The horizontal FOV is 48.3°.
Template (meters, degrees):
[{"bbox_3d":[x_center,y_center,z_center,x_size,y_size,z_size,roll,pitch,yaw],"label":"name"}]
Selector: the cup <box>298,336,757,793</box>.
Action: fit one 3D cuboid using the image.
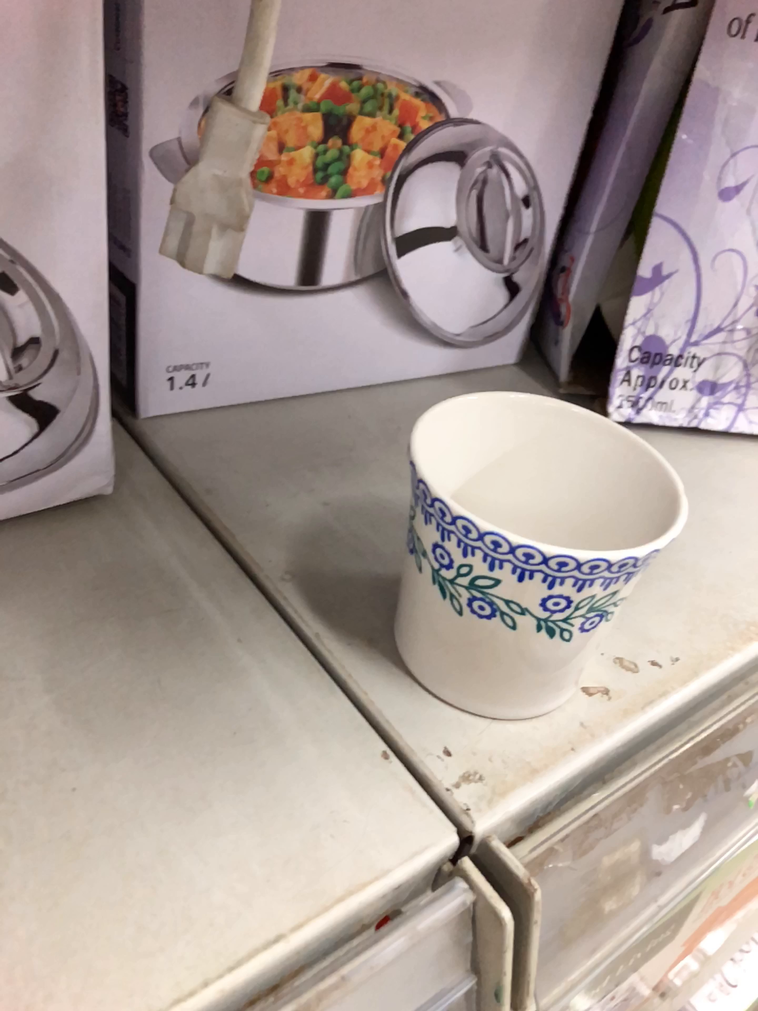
[{"bbox_3d":[0.042,0.008,0.236,0.101,0.069,0.070,-23,48,-39],"label":"cup"}]
